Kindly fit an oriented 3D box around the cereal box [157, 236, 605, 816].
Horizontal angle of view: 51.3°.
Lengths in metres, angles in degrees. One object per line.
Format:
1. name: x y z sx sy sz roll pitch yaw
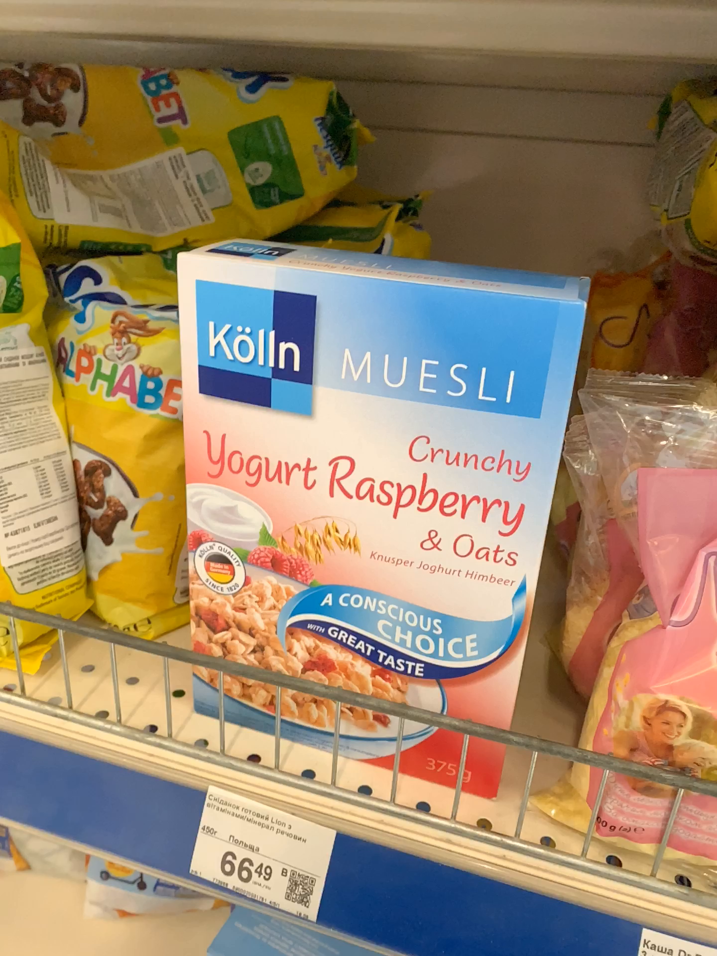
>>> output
1. cereal box: 0.004 0.018 0.310 0.150 0.208 0.060 11 25 16
